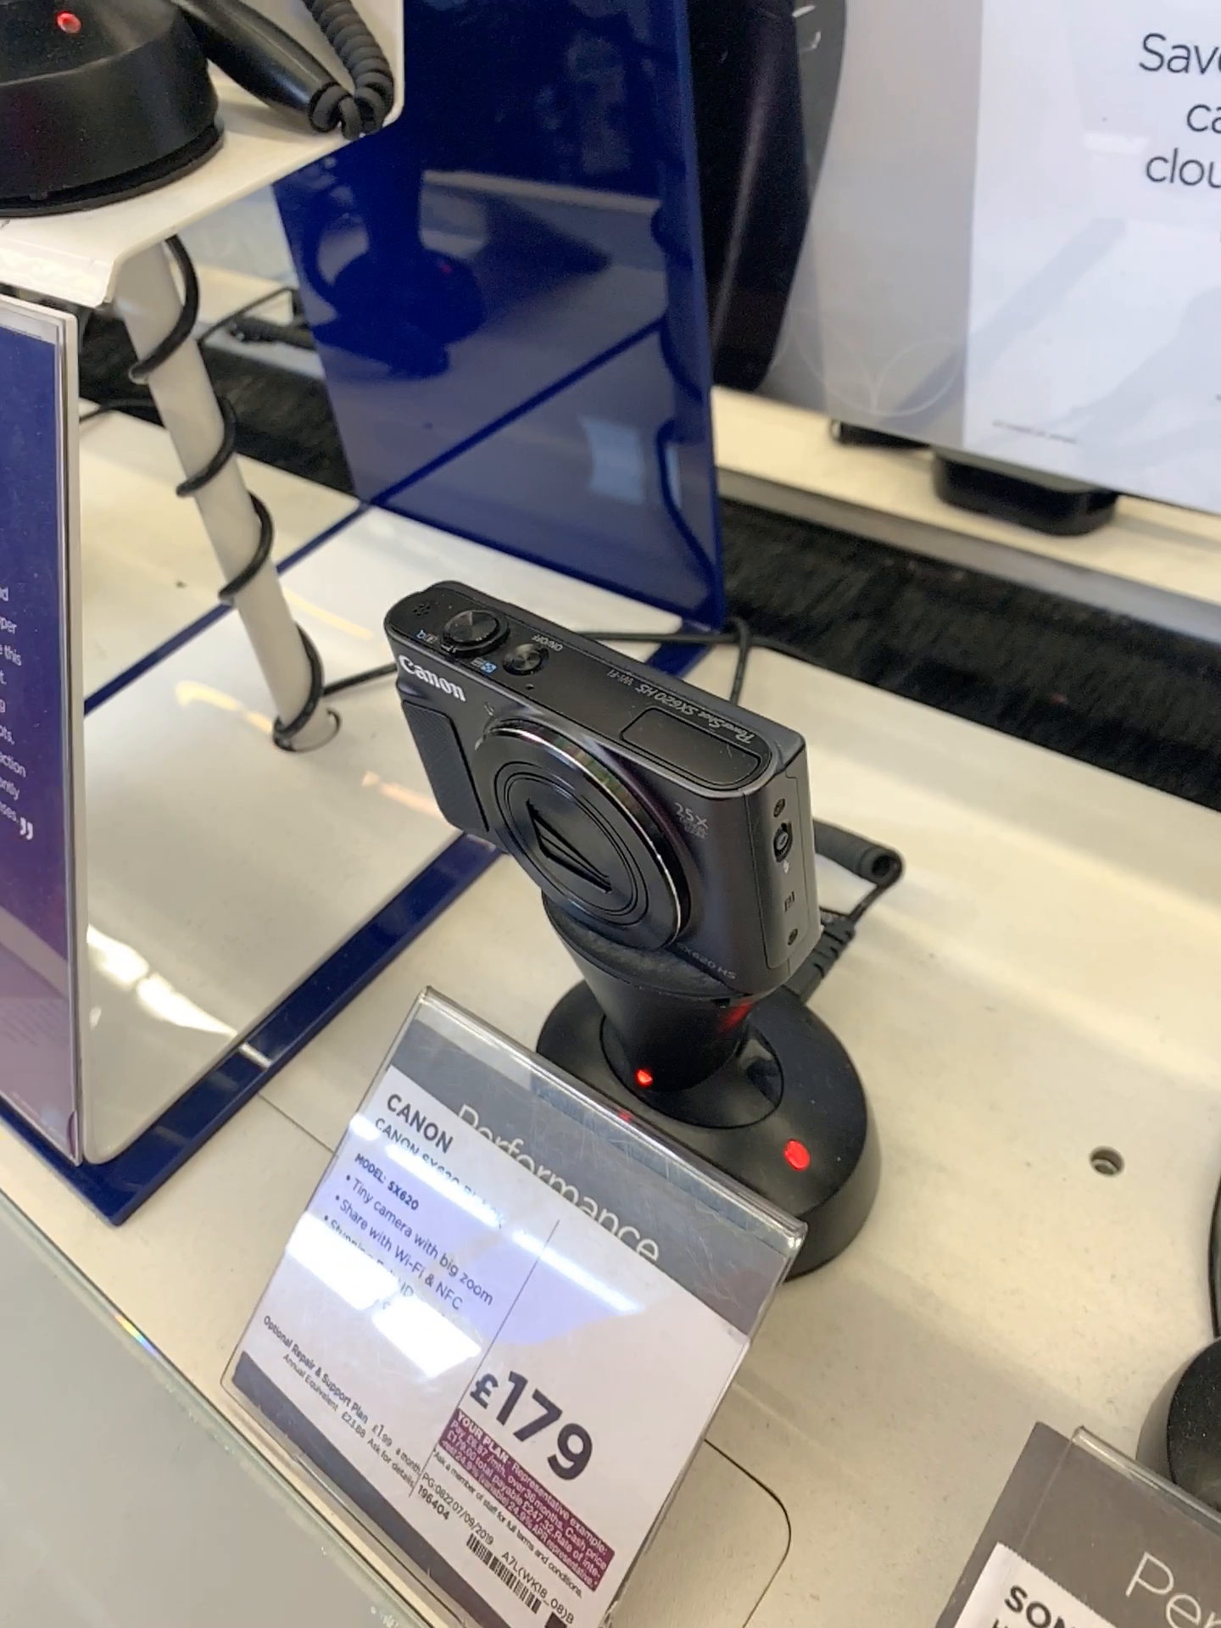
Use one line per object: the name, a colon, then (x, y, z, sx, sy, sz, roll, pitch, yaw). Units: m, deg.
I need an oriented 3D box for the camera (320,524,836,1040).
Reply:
camera: (-0.005, -0.008, 0.234, 0.090, 0.059, 0.030, 28, 57, 33)
